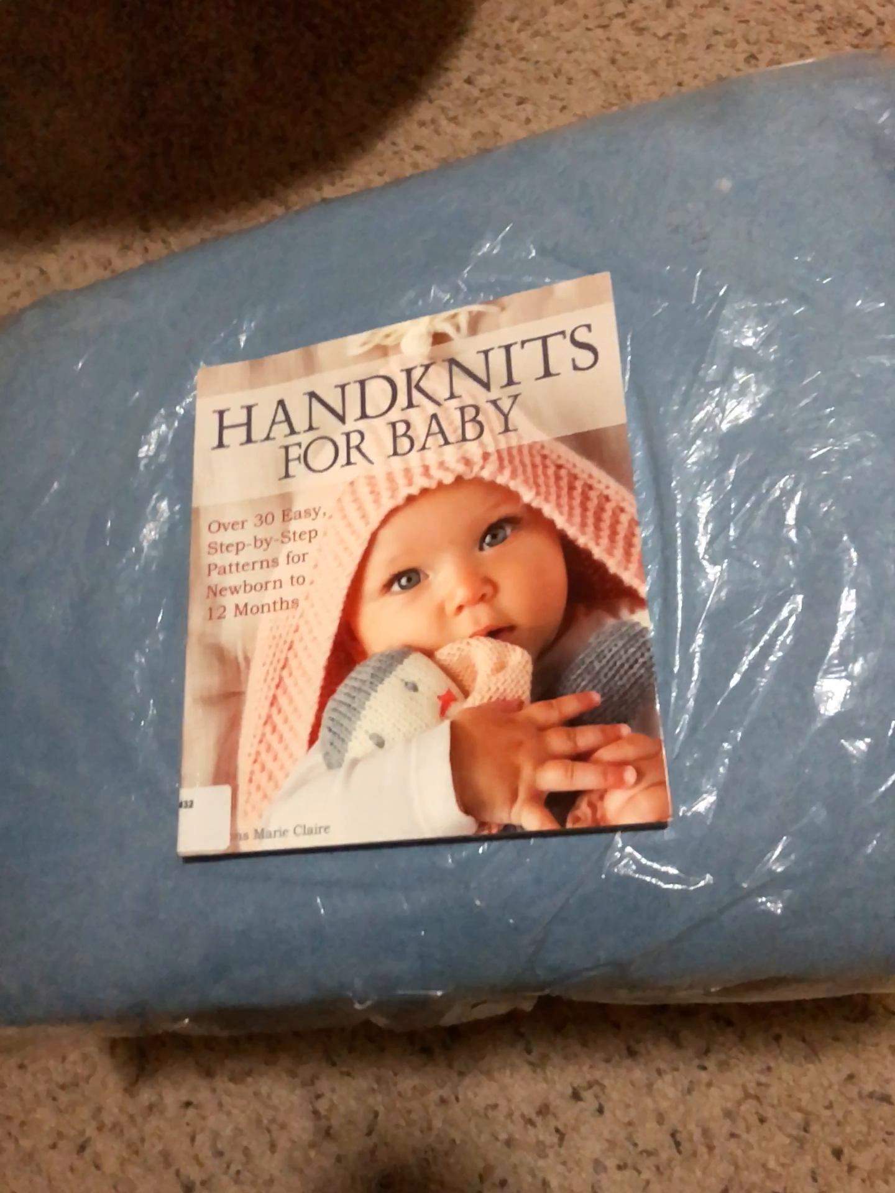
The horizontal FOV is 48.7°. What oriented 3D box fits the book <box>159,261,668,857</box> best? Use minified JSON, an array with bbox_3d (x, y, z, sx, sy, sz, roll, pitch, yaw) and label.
[{"bbox_3d":[-0.023,-0.014,0.403,0.197,0.020,0.220,-8,72,18],"label":"book"}]
